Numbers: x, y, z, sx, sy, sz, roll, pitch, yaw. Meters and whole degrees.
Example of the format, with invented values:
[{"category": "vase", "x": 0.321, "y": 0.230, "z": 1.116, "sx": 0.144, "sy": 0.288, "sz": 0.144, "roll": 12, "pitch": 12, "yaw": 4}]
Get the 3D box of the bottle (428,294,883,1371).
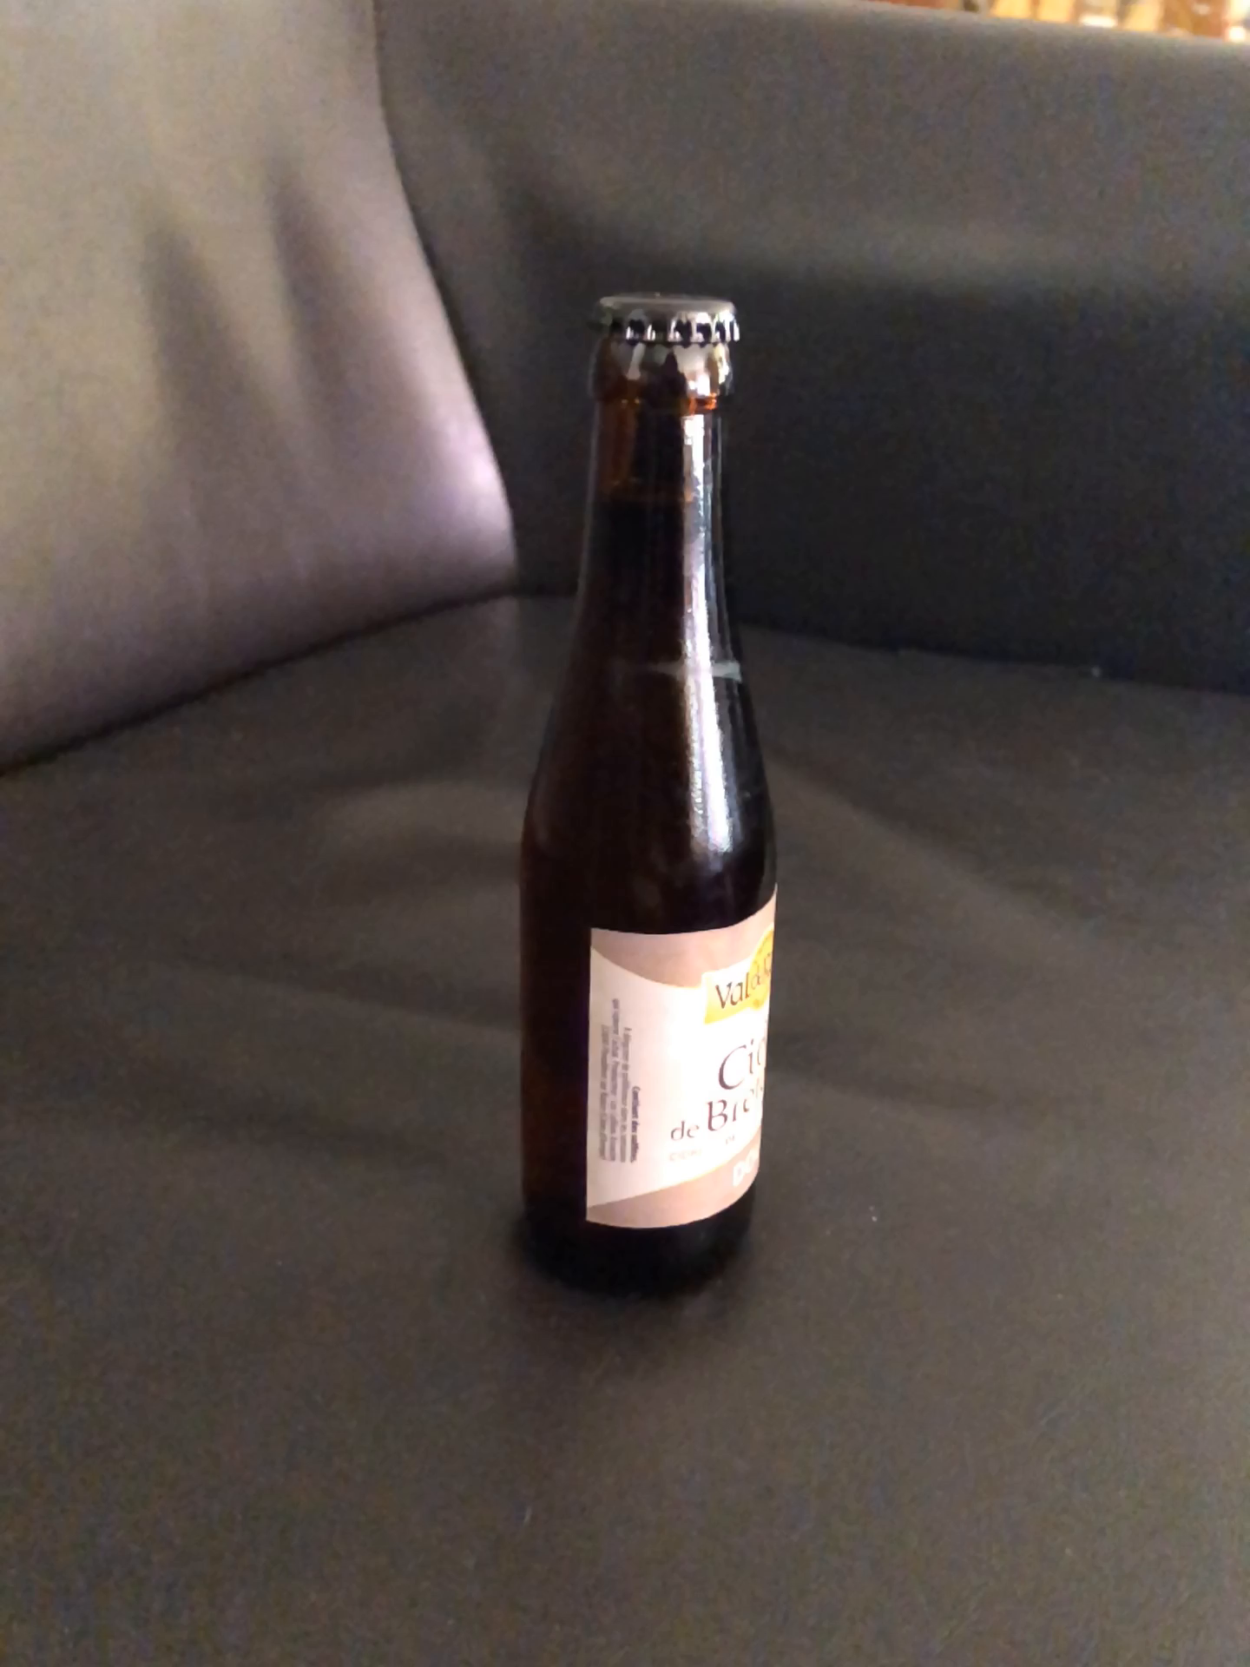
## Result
[{"category": "bottle", "x": 0.006, "y": 0.002, "z": 0.290, "sx": 0.060, "sy": 0.209, "sz": 0.060, "roll": 1, "pitch": 24, "yaw": 0}]
